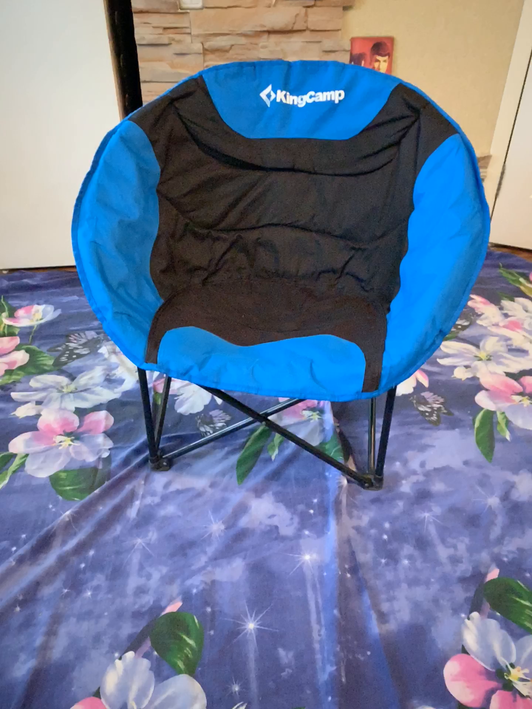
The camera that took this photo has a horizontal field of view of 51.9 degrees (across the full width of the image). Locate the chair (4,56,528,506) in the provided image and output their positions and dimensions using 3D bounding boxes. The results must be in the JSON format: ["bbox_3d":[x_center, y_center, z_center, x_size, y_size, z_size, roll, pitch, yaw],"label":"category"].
[{"bbox_3d":[0.023,-0.204,1.246,0.760,0.772,0.613,5,34,7],"label":"chair"}]
